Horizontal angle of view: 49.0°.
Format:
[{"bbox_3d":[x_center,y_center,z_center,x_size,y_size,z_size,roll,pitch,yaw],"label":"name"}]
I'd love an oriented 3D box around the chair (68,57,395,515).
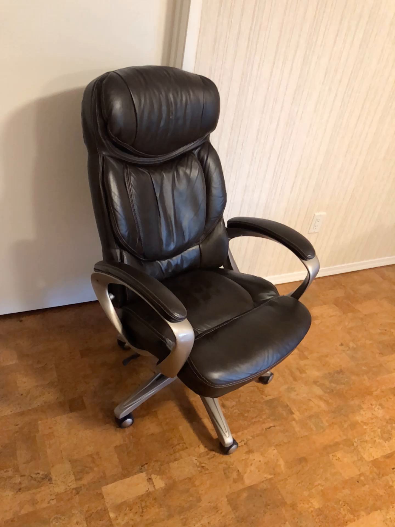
[{"bbox_3d":[0.083,0.017,1.361,0.651,1.086,0.692,34,39,32],"label":"chair"}]
